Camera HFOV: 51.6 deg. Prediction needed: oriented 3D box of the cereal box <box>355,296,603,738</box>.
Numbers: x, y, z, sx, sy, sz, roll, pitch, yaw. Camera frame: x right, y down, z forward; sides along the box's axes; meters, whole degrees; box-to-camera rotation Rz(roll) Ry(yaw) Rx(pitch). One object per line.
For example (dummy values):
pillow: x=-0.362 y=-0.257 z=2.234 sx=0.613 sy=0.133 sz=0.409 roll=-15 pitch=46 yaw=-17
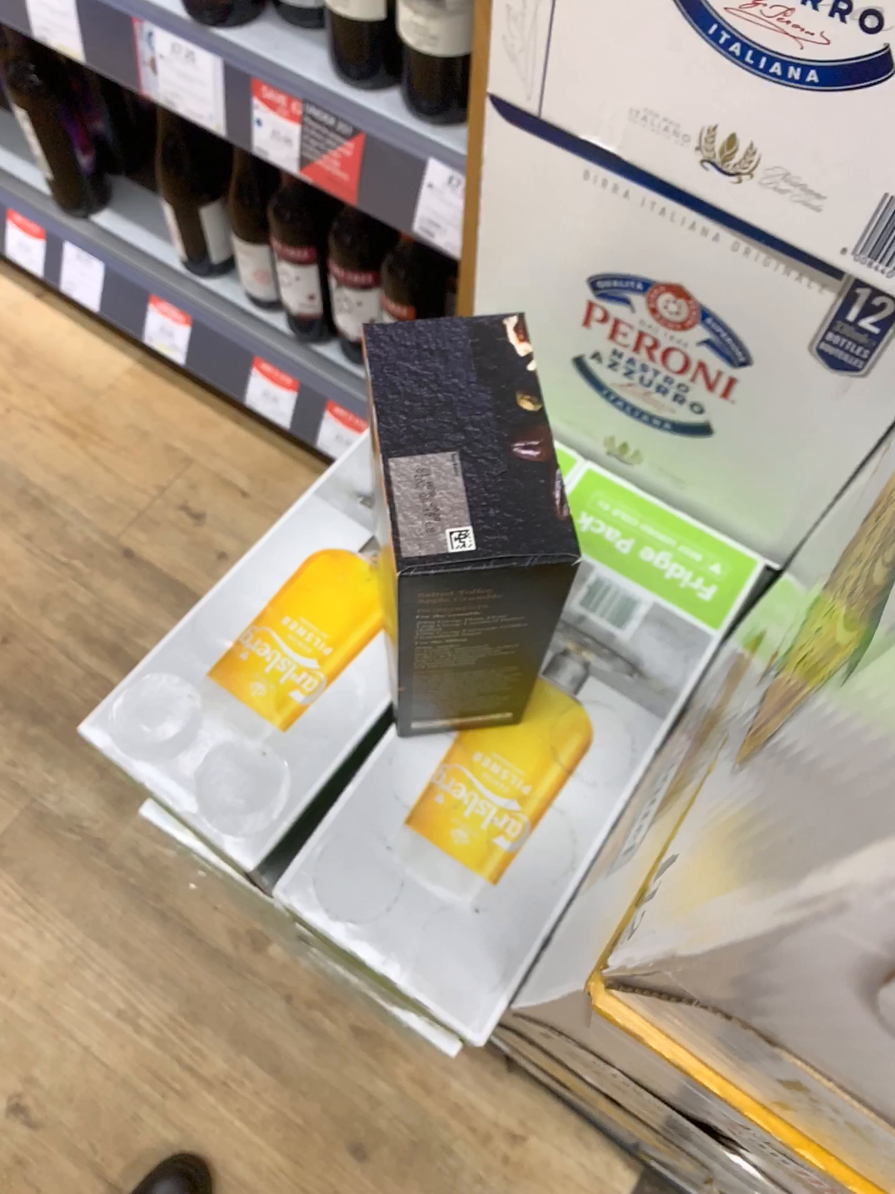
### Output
cereal box: x=0.005 y=-0.024 z=0.458 sx=0.080 sy=0.209 sz=0.121 roll=-6 pitch=64 yaw=-6
